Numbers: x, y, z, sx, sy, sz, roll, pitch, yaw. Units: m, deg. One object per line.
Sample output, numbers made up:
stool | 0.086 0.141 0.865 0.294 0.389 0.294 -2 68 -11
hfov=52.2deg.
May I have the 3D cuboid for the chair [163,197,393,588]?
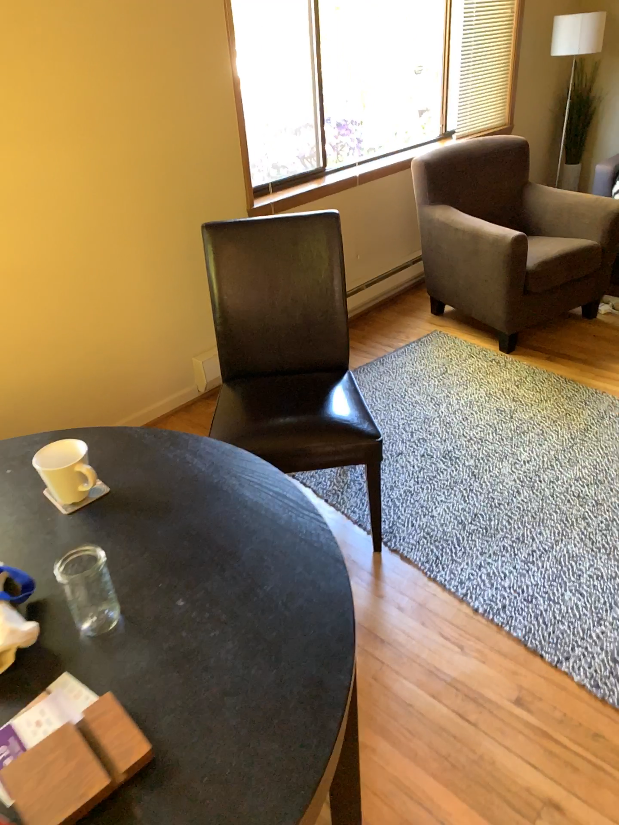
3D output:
chair | -0.079 -0.076 2.086 0.560 1.034 0.674 -7 32 -4
